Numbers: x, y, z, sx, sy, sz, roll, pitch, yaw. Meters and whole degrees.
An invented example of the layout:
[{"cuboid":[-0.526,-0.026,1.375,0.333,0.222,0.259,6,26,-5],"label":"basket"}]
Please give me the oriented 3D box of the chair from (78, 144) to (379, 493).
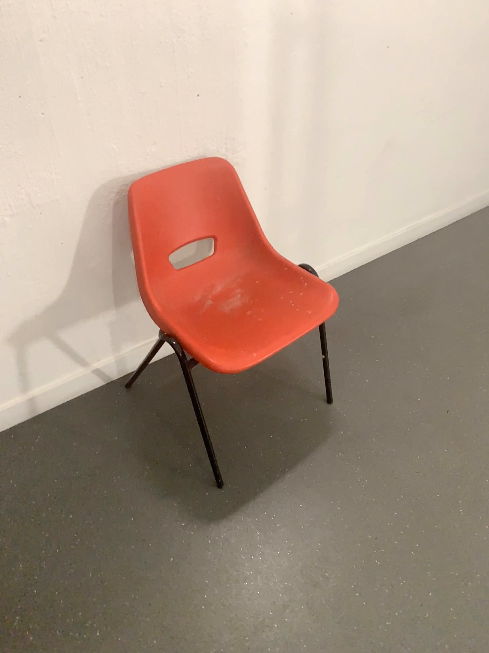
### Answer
[{"cuboid":[-0.055,-0.043,1.509,0.512,0.713,0.593,-30,50,-29],"label":"chair"}]
